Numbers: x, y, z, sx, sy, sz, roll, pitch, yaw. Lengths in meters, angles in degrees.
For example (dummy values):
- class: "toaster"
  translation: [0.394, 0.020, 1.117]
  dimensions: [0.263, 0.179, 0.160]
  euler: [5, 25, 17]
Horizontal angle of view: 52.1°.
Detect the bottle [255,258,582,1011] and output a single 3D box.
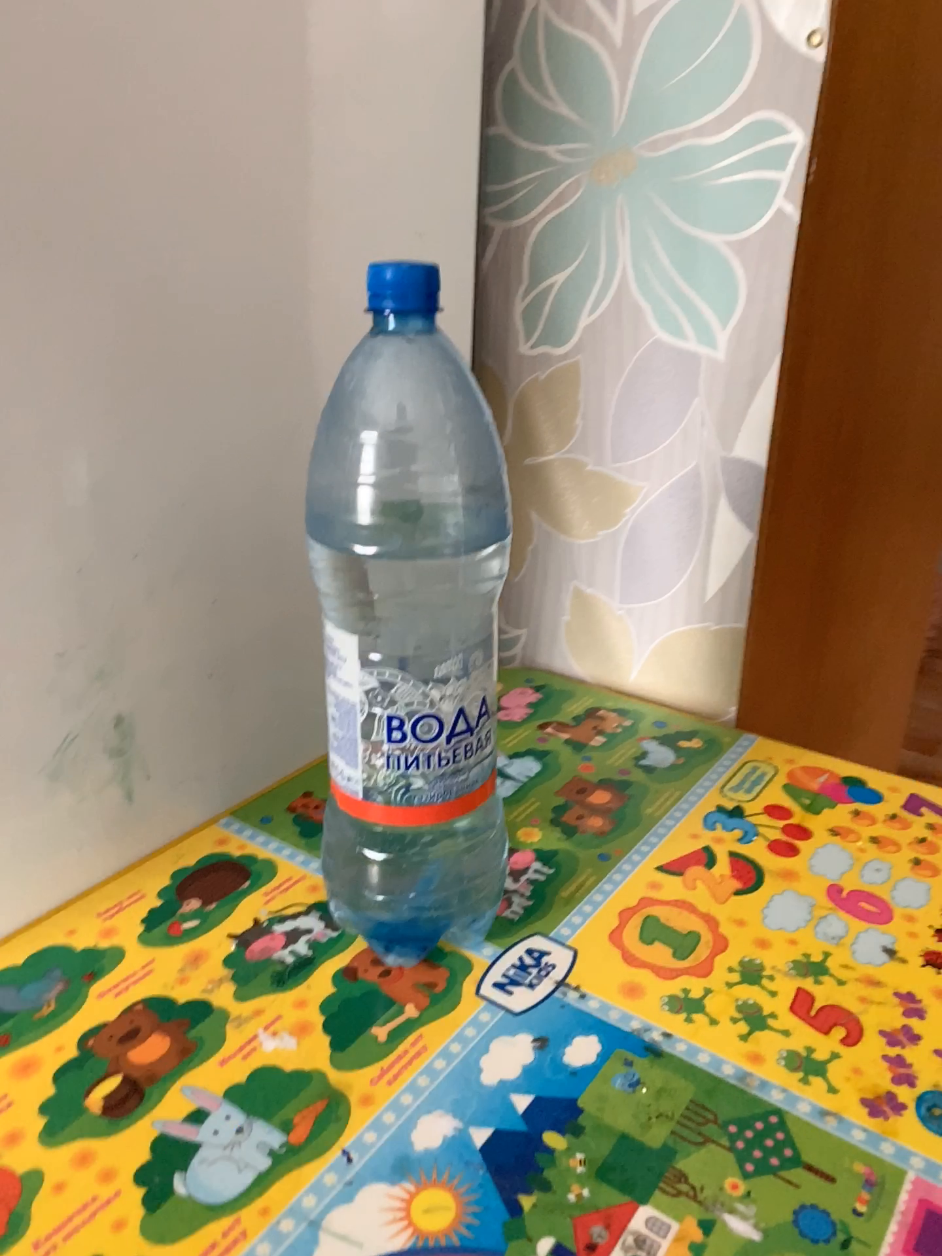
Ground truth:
- class: "bottle"
  translation: [-0.027, 0.001, 0.444]
  dimensions: [0.100, 0.318, 0.101]
  euler: [1, 21, 0]
